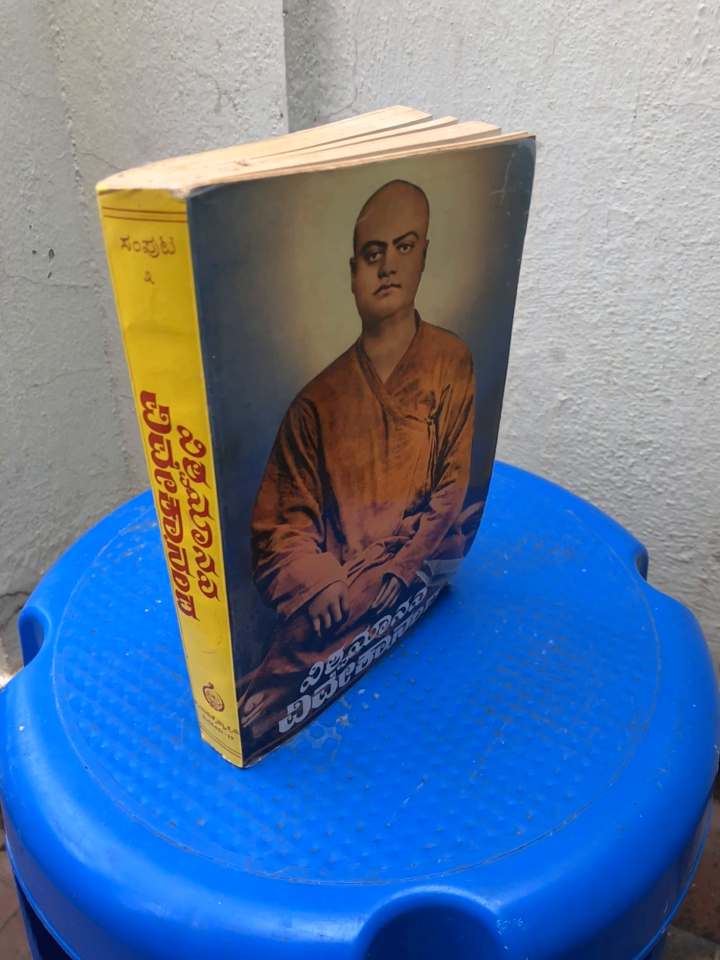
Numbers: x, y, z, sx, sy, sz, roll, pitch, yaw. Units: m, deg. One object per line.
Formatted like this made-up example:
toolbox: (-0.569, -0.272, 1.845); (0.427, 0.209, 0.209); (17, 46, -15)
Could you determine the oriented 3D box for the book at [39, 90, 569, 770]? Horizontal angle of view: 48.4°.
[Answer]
book: (0.000, -0.030, 0.307); (0.050, 0.199, 0.191); (23, 39, 36)
